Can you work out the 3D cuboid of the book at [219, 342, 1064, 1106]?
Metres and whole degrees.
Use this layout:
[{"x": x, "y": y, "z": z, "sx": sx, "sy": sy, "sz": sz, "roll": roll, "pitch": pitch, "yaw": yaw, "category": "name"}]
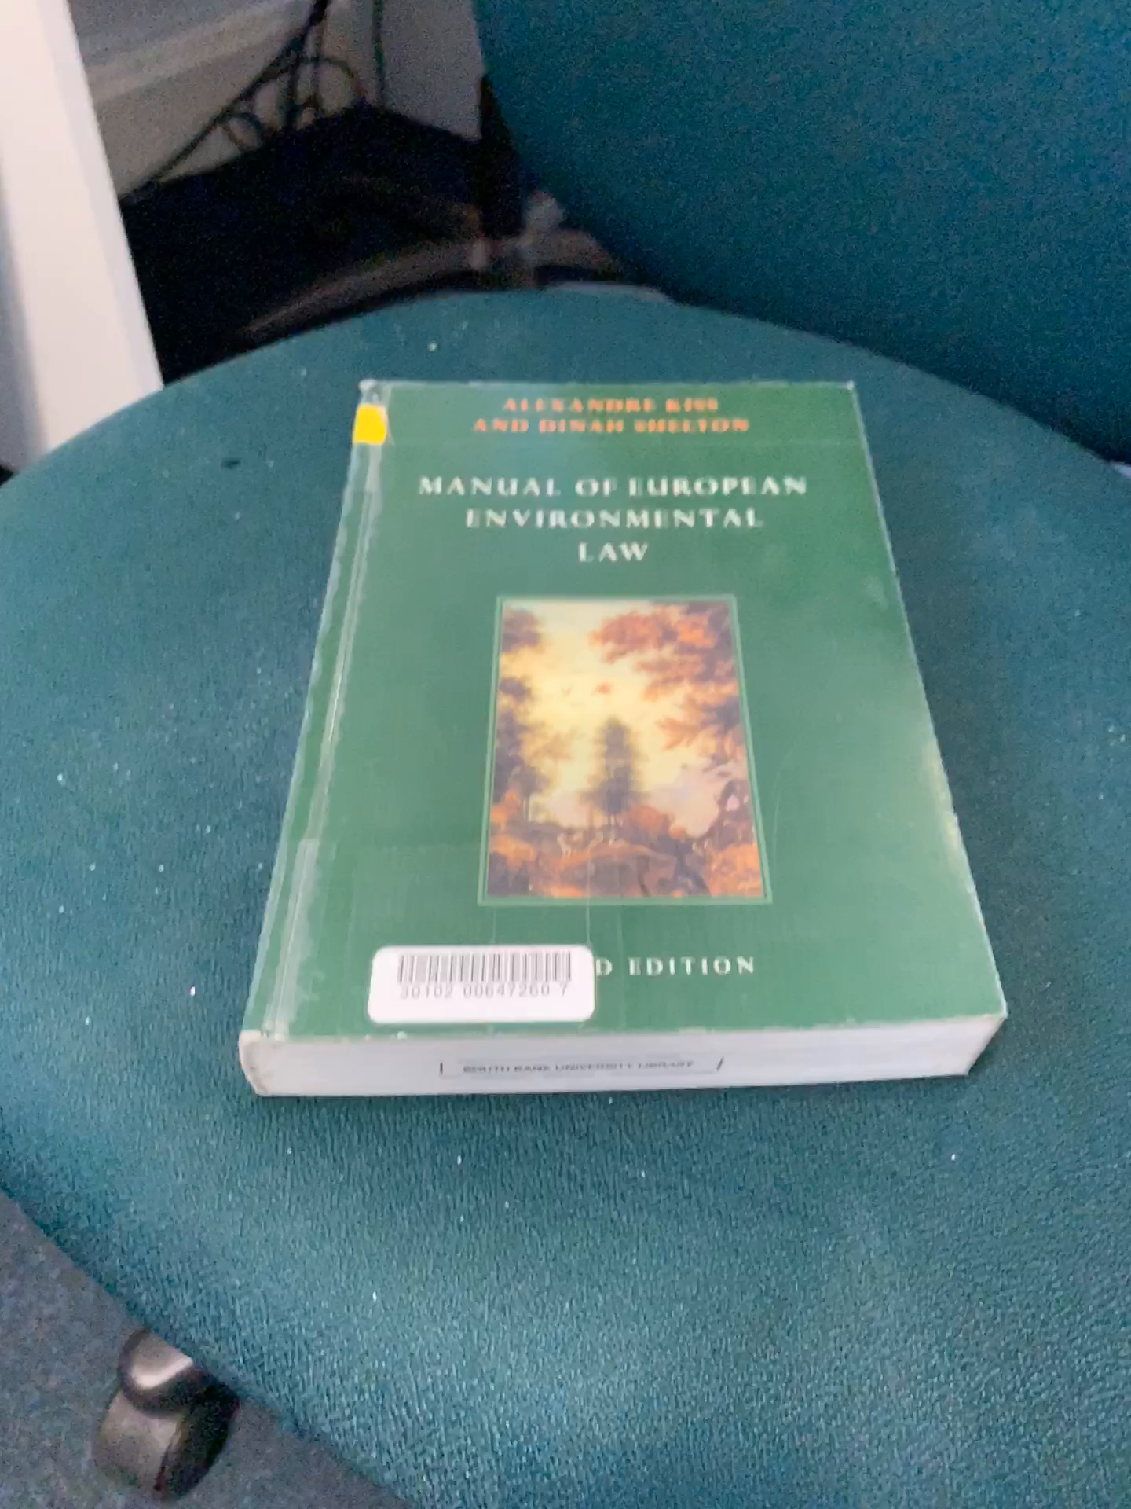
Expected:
[{"x": 0.015, "y": -0.028, "z": 0.342, "sx": 0.180, "sy": 0.040, "sz": 0.252, "roll": 0, "pitch": 52, "yaw": -1, "category": "book"}]
